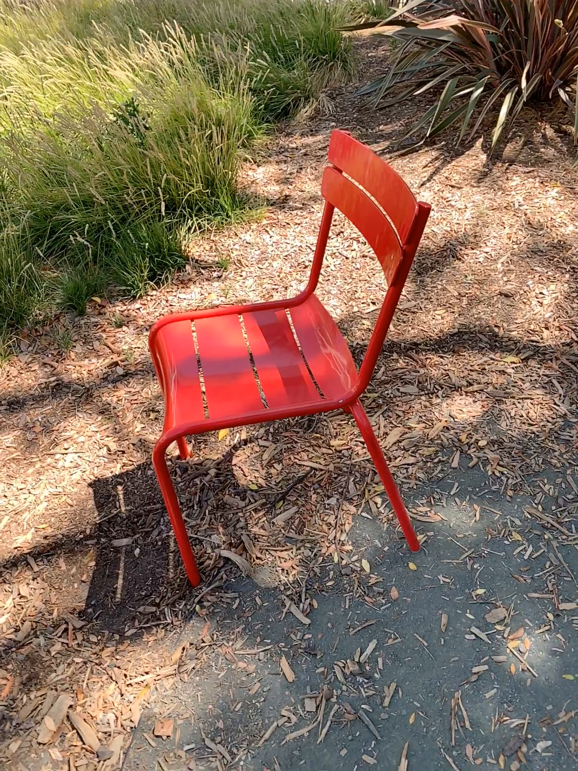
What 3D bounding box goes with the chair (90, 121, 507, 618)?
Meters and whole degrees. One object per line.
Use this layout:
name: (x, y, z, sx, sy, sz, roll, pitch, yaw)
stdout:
chair: (-0.040, -0.063, 1.255, 0.570, 0.785, 0.614, -7, 36, -11)
